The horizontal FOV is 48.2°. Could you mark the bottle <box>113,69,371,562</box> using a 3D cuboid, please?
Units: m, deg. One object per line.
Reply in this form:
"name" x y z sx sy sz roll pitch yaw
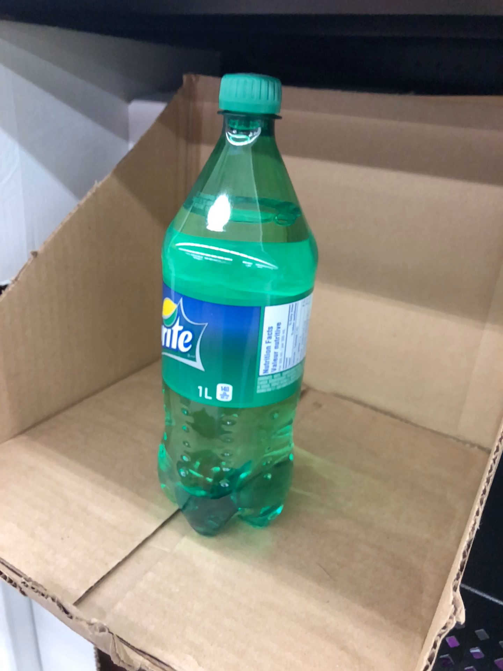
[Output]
"bottle" -0.014 -0.012 0.322 0.090 0.248 0.090 3 24 -1
